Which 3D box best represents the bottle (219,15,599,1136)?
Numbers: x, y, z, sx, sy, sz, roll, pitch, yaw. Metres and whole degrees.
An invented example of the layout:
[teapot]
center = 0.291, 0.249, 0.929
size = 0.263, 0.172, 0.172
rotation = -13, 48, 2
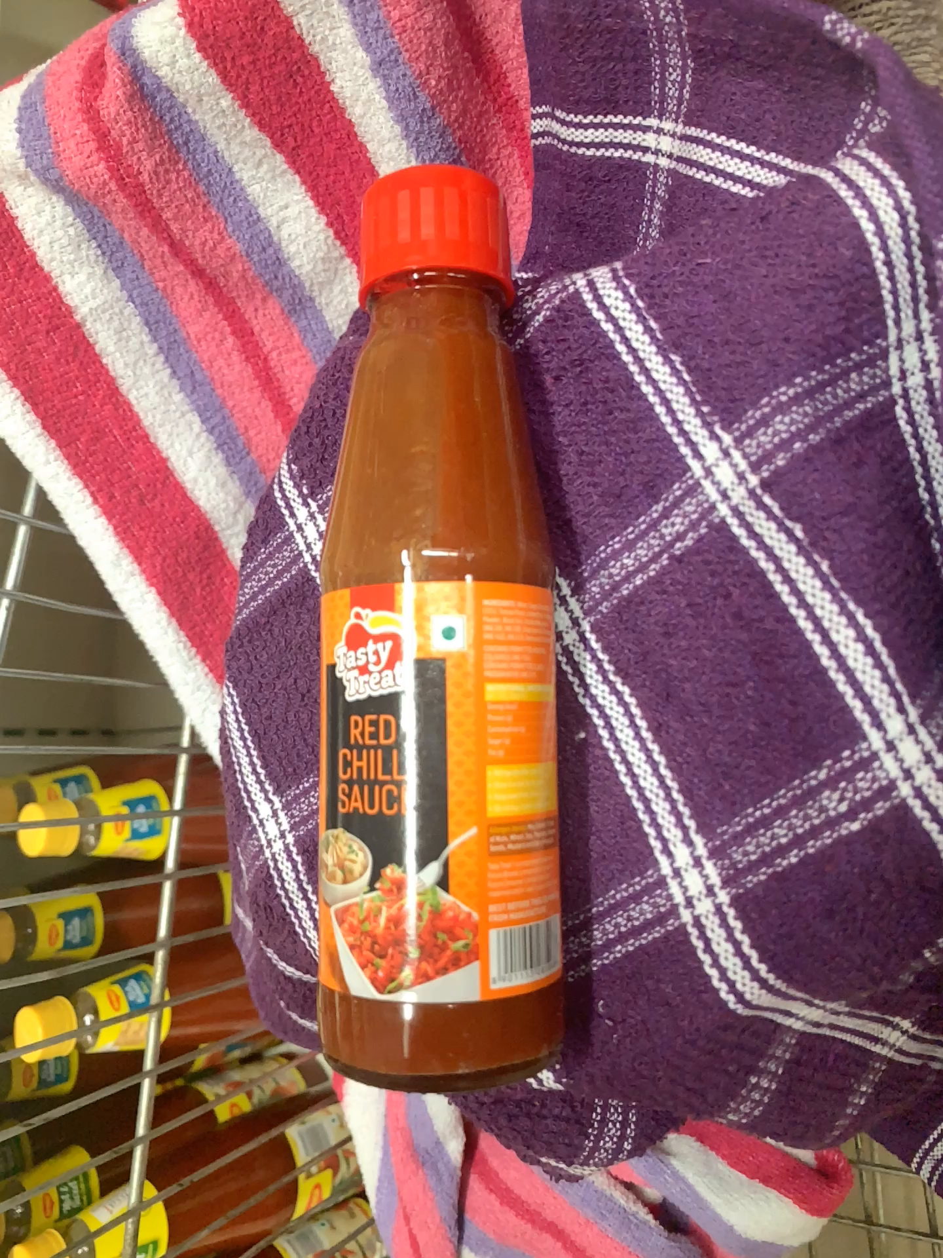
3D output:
[bottle]
center = -0.013, -0.010, 0.186
size = 0.050, 0.040, 0.180
rotation = -6, 85, 37
